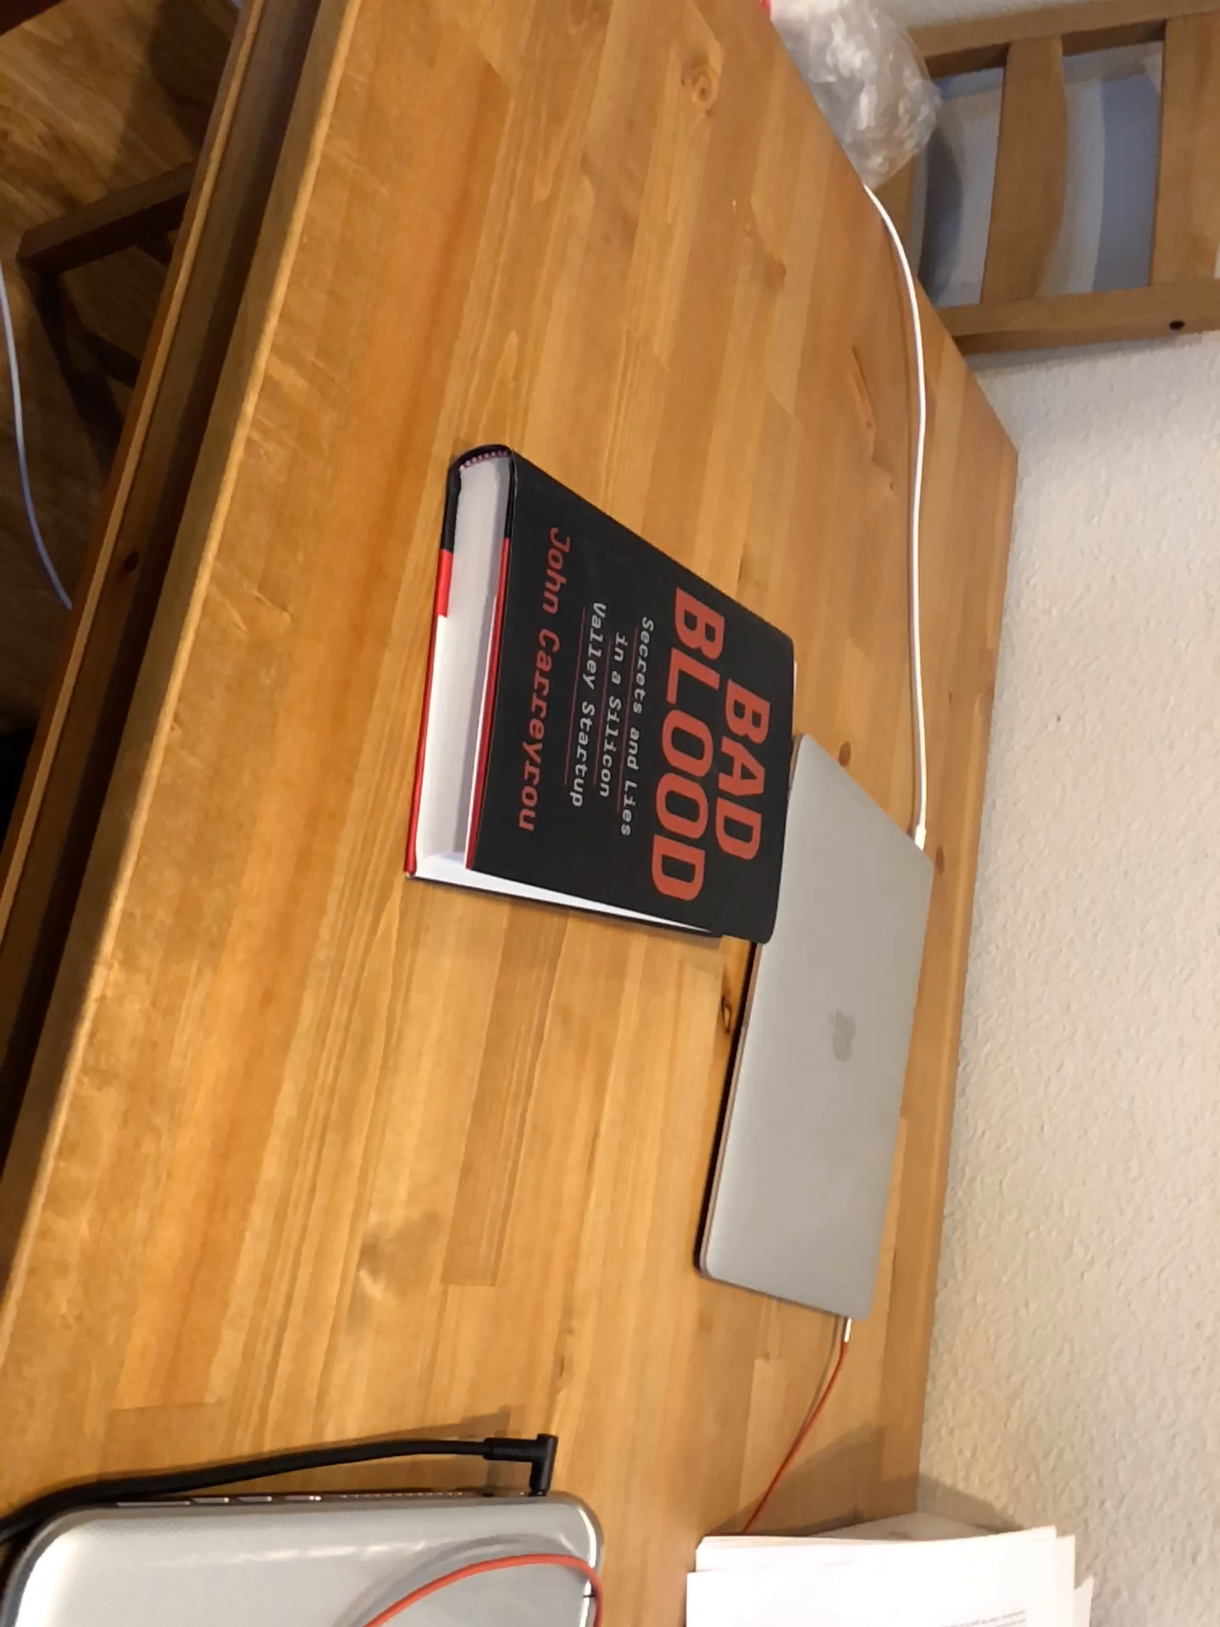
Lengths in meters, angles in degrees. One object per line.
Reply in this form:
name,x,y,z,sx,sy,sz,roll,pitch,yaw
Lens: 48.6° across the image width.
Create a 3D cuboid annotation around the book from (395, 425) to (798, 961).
book,0.010,-0.035,0.606,0.252,0.030,0.178,19,74,-55
